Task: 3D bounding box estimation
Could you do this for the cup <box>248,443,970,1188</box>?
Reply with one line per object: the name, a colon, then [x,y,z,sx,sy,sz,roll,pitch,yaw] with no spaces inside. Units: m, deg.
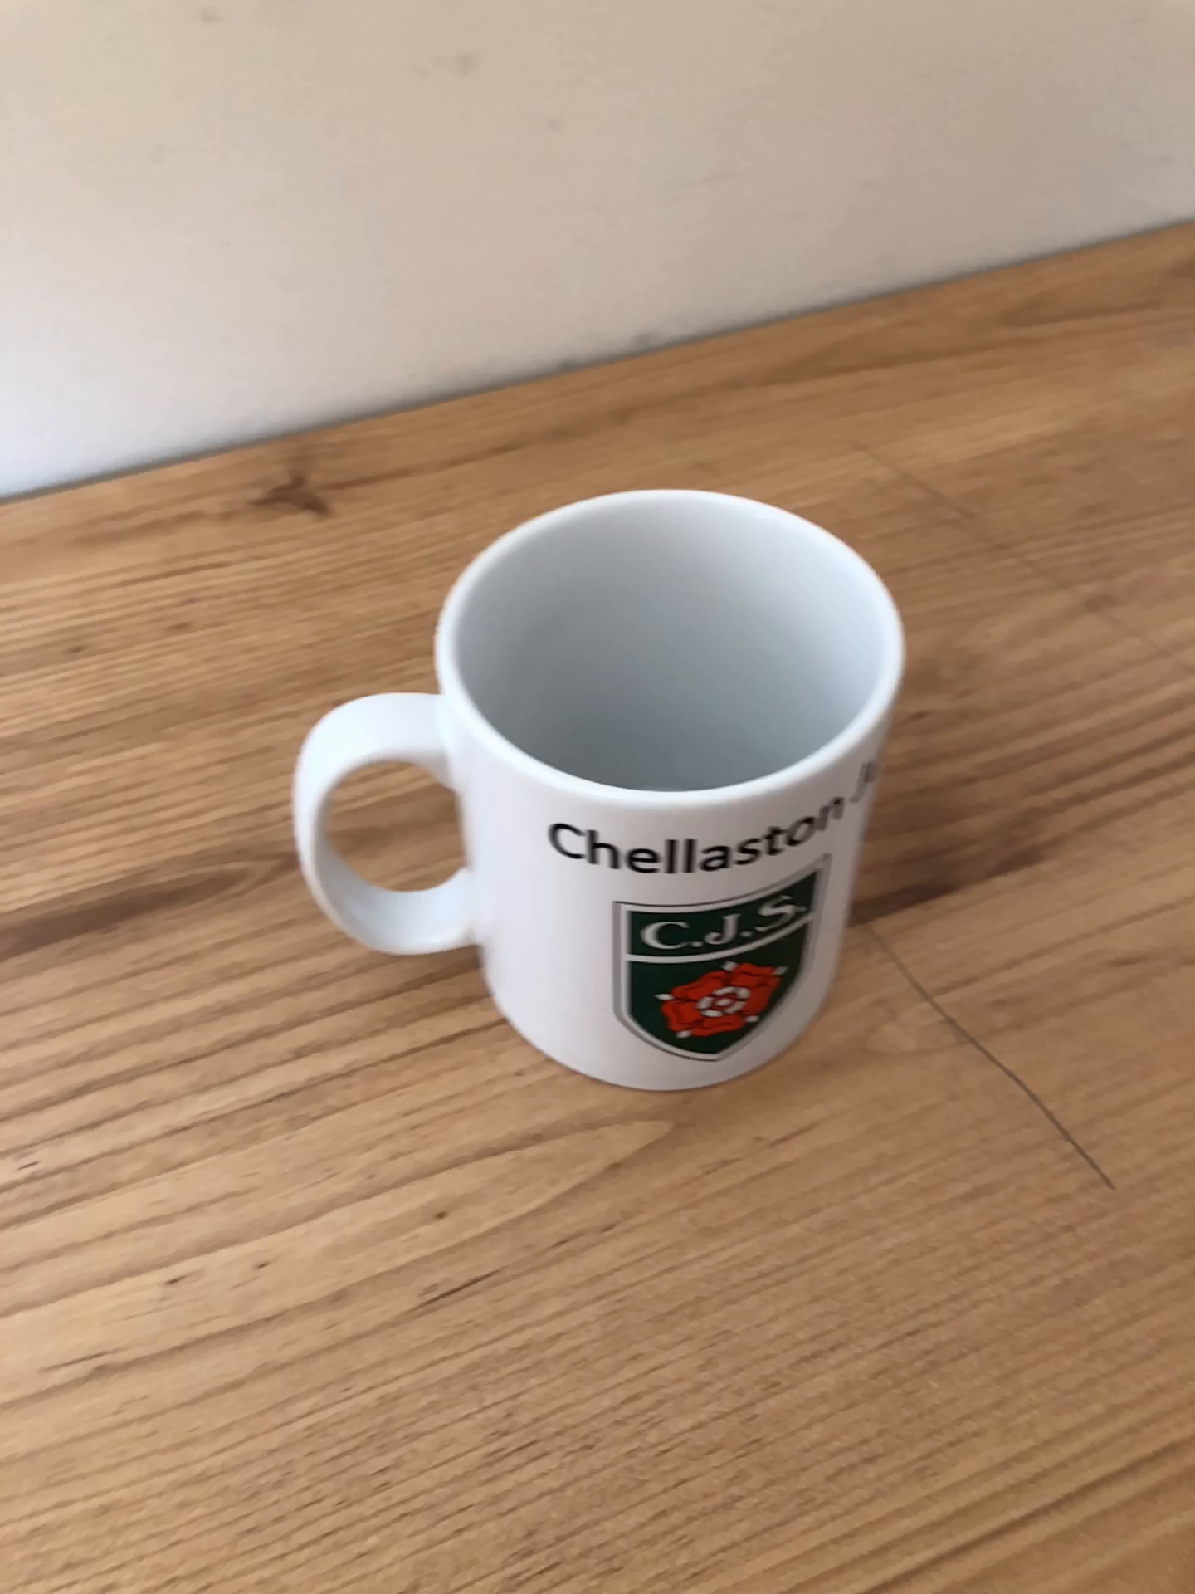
cup: [0.001,0.004,0.270,0.110,0.096,0.084,-14,47,-6]
